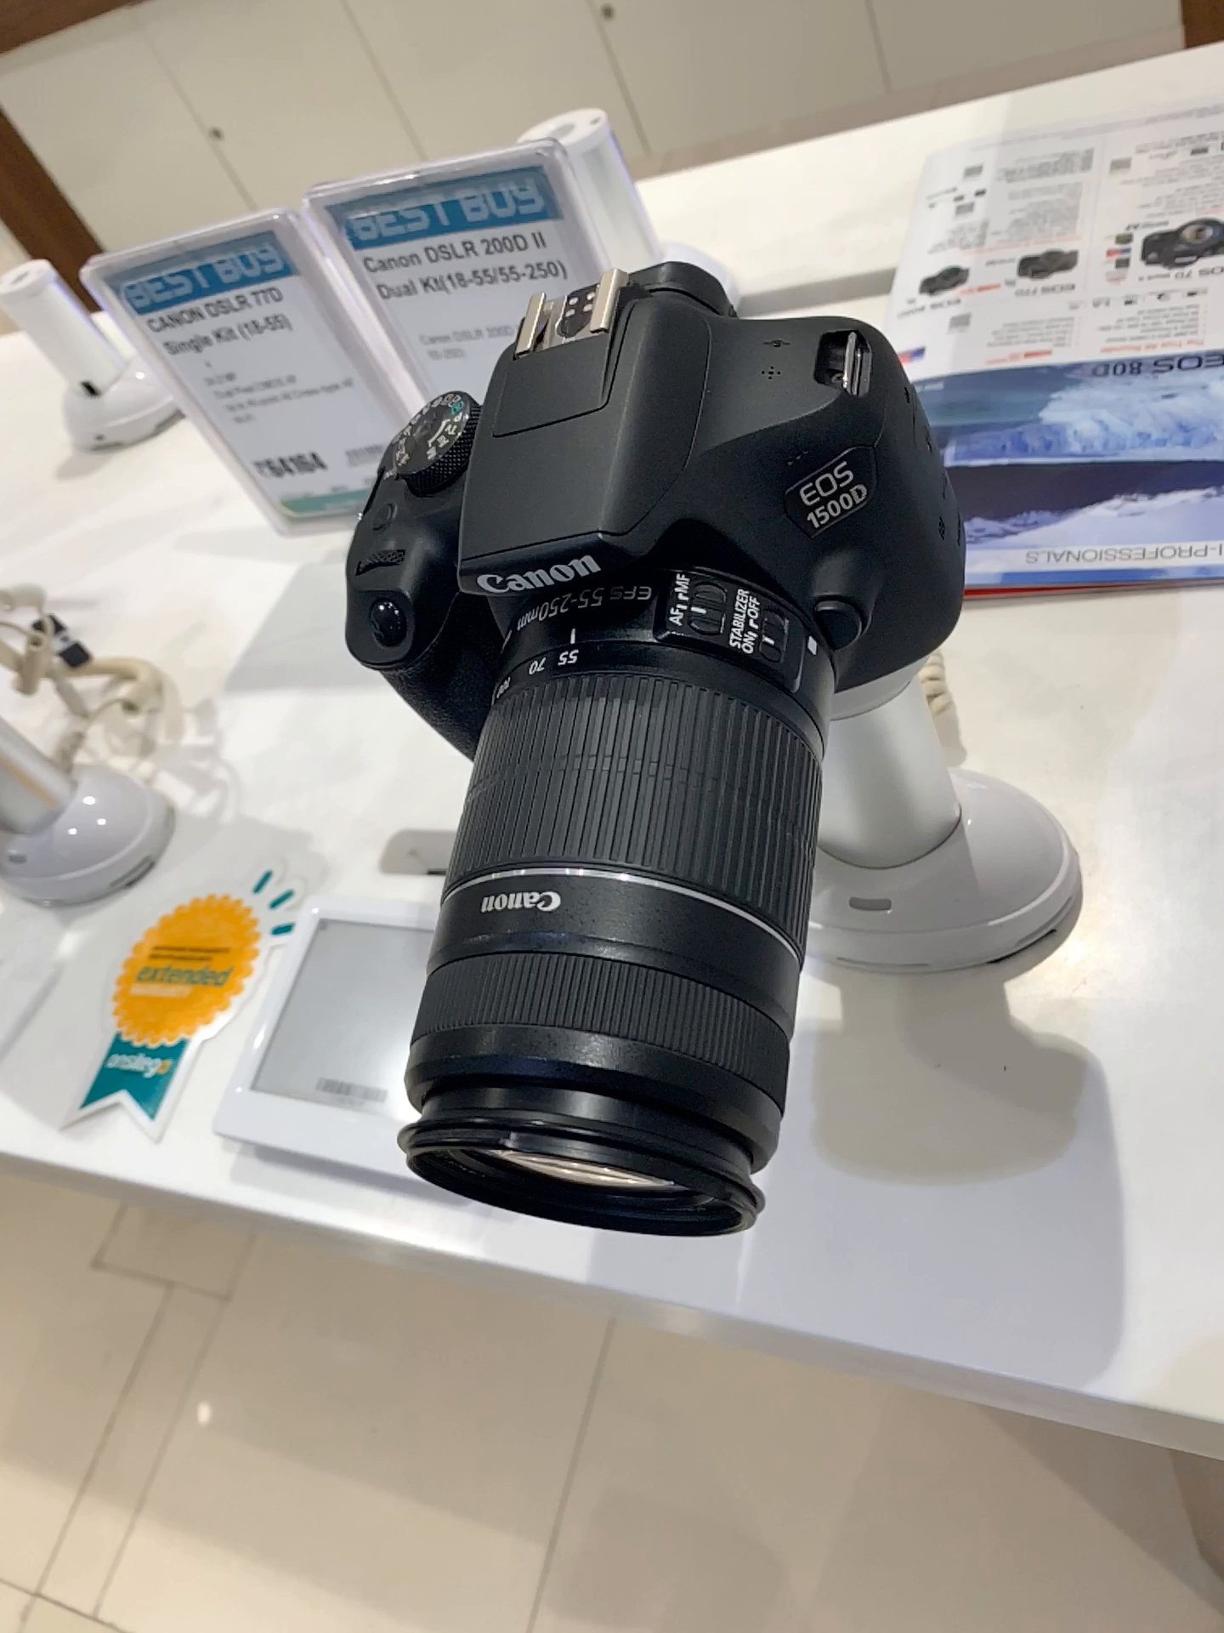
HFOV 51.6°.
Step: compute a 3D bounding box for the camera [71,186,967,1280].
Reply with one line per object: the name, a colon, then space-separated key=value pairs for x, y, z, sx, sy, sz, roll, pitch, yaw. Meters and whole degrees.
camera: x=-0.001 y=-0.010 z=0.240 sx=0.118 sy=0.090 sz=0.164 roll=-5 pitch=61 yaw=25
